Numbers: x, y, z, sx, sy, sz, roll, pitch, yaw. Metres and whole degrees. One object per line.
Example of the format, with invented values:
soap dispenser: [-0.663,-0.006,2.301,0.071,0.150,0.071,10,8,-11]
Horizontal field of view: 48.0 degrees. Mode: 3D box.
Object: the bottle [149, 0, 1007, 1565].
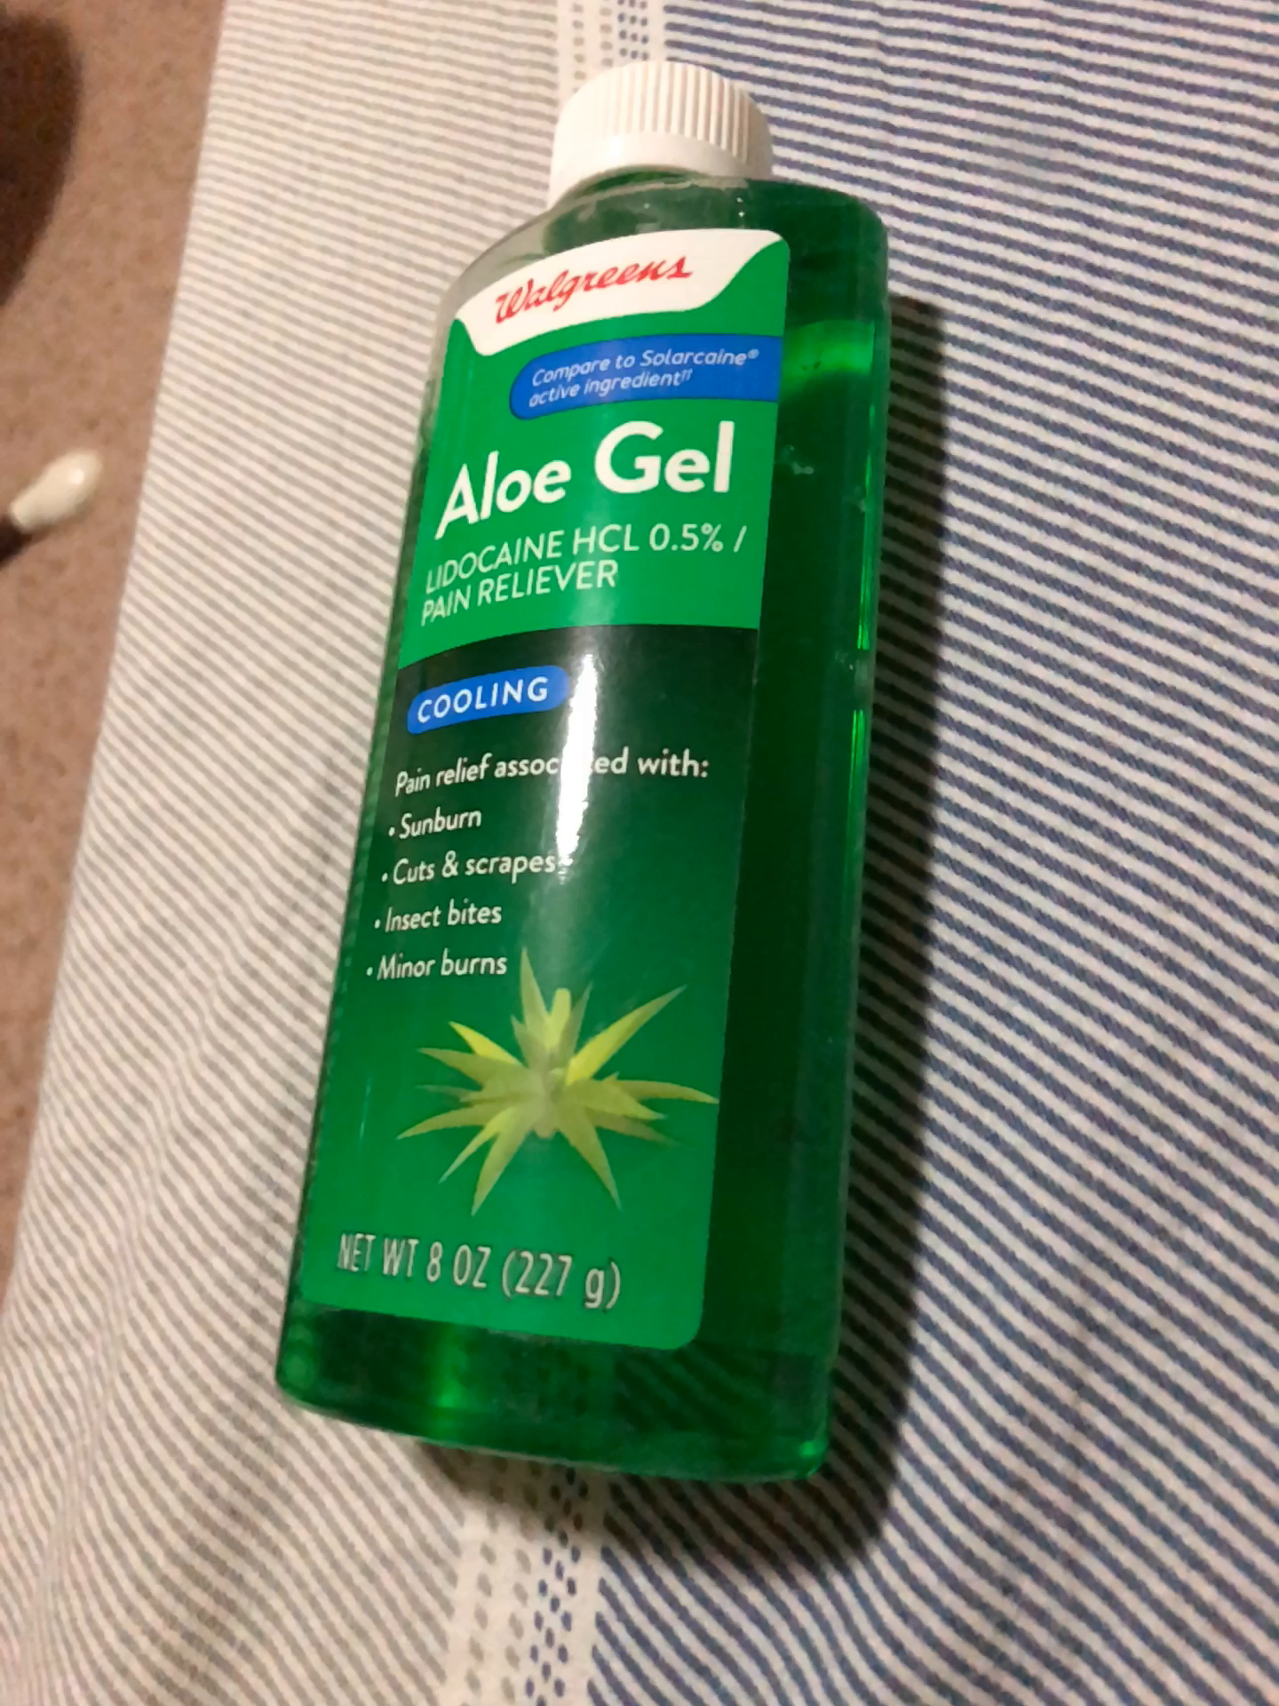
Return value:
bottle: [-0.001,-0.019,0.179,0.080,0.030,0.180,-1,72,23]
